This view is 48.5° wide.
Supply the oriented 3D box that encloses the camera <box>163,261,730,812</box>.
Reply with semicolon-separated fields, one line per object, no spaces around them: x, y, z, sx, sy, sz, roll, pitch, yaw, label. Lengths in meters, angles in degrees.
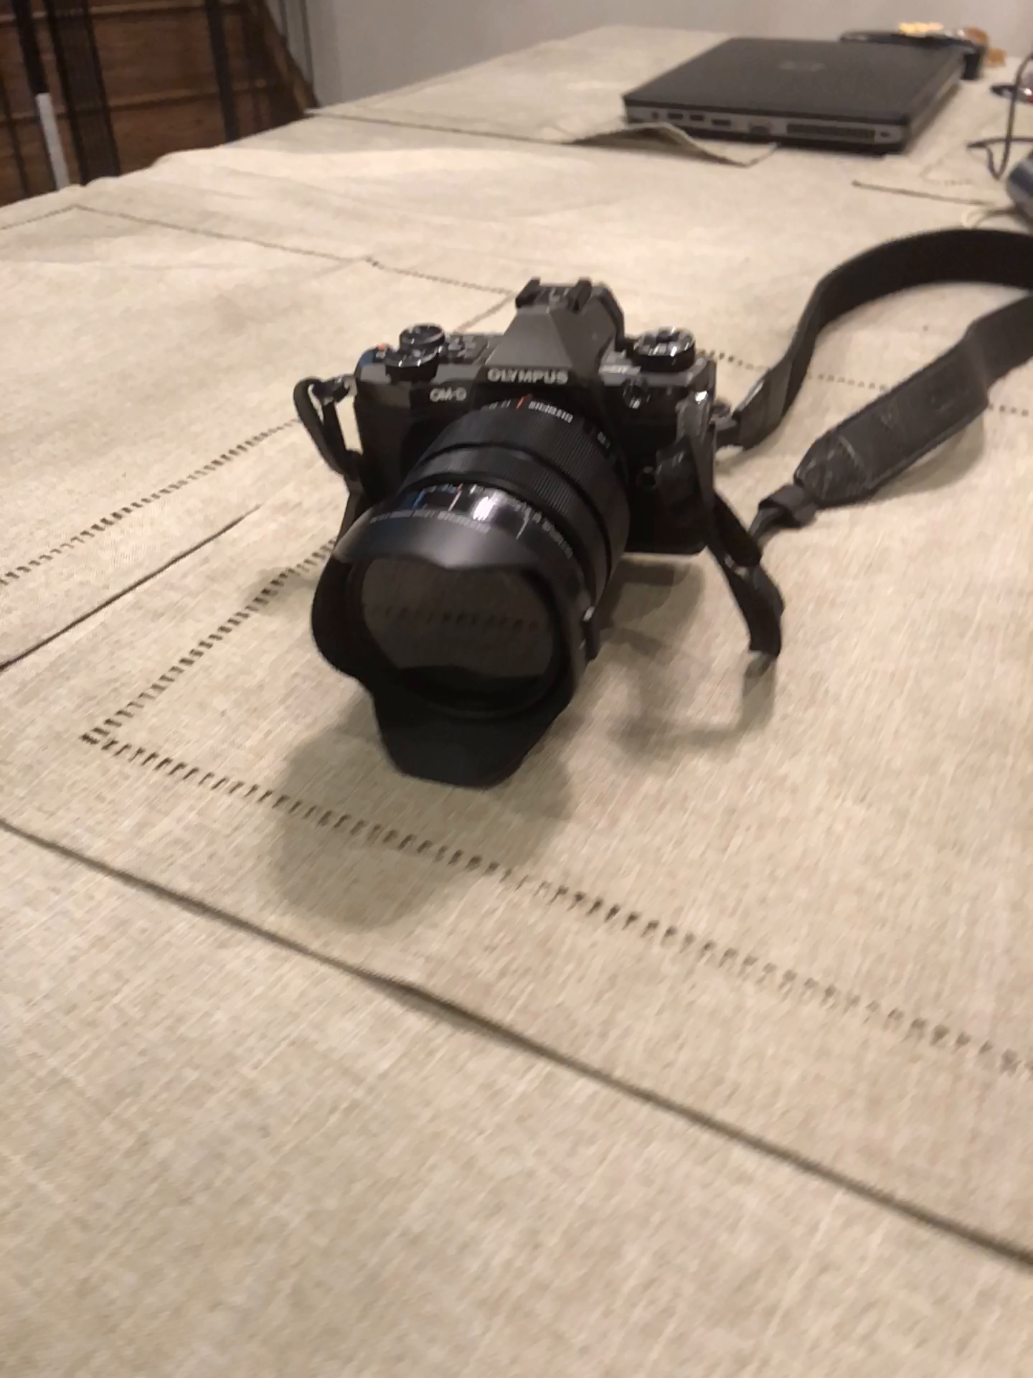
-0.007;-0.059;0.355;0.124;0.092;0.165;7;36;10;camera
